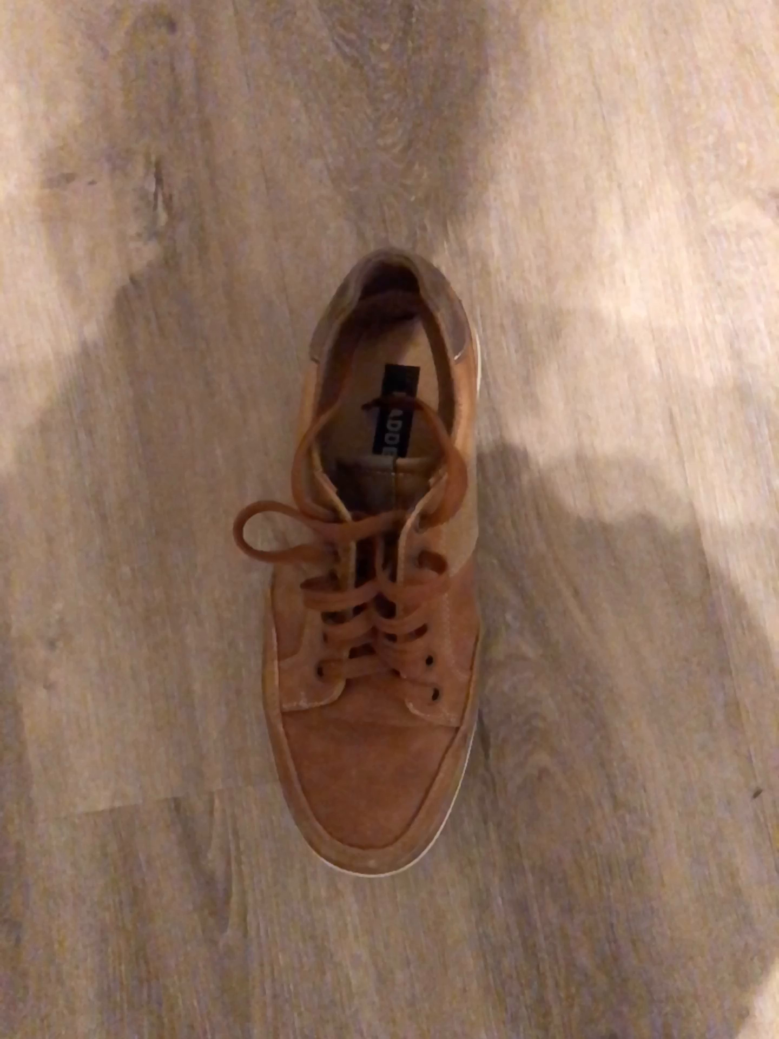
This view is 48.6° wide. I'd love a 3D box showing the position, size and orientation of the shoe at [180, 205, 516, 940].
[{"bbox_3d":[-0.009,0.018,0.388,0.110,0.100,0.280,4,85,8],"label":"shoe"}]
